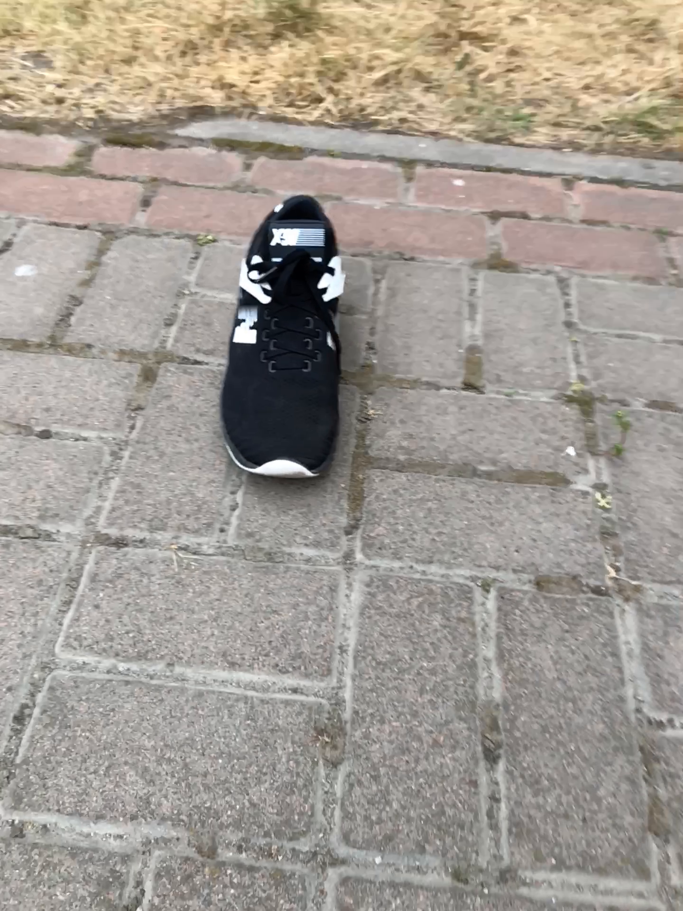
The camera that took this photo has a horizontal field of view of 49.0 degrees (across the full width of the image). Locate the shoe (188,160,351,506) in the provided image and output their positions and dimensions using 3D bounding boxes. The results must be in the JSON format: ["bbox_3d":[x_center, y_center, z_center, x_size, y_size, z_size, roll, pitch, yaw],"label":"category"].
[{"bbox_3d":[-0.049,-0.112,0.625,0.100,0.129,0.282,3,49,-1],"label":"shoe"}]
